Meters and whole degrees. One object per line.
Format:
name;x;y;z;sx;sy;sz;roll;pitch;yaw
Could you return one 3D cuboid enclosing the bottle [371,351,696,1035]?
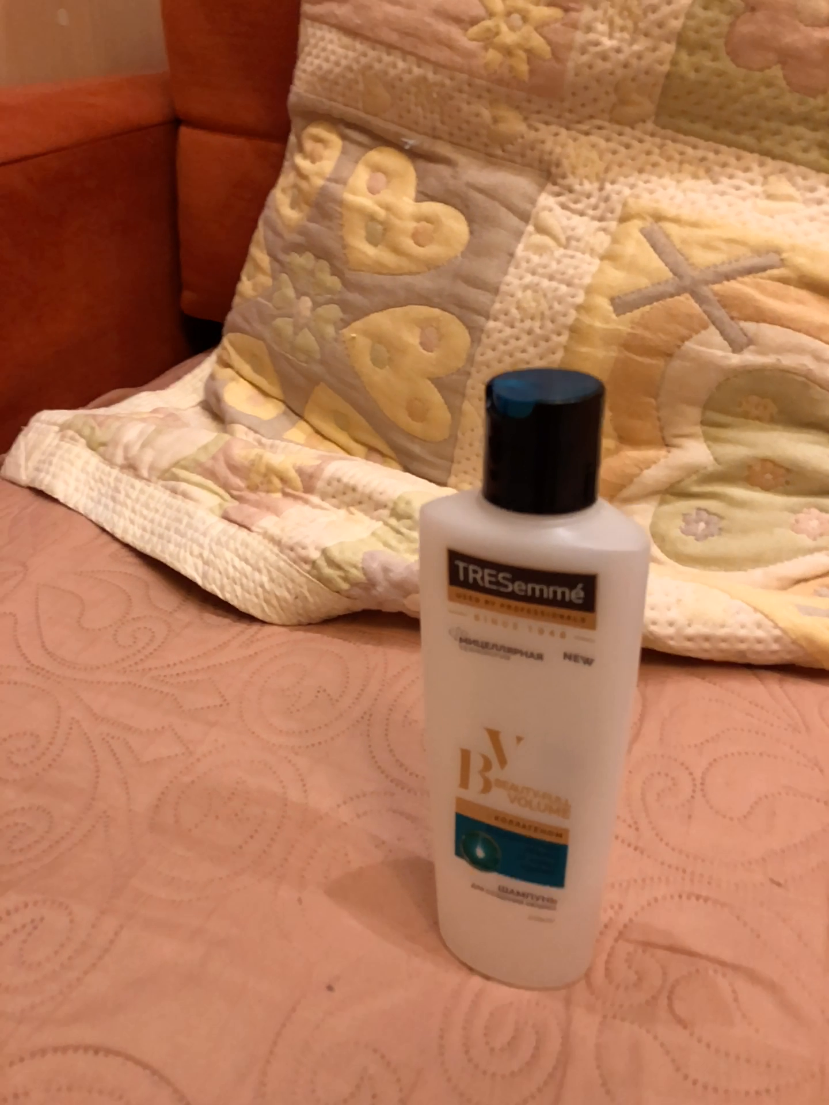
bottle;0.028;0.048;0.267;0.070;0.199;0.040;12;30;19
